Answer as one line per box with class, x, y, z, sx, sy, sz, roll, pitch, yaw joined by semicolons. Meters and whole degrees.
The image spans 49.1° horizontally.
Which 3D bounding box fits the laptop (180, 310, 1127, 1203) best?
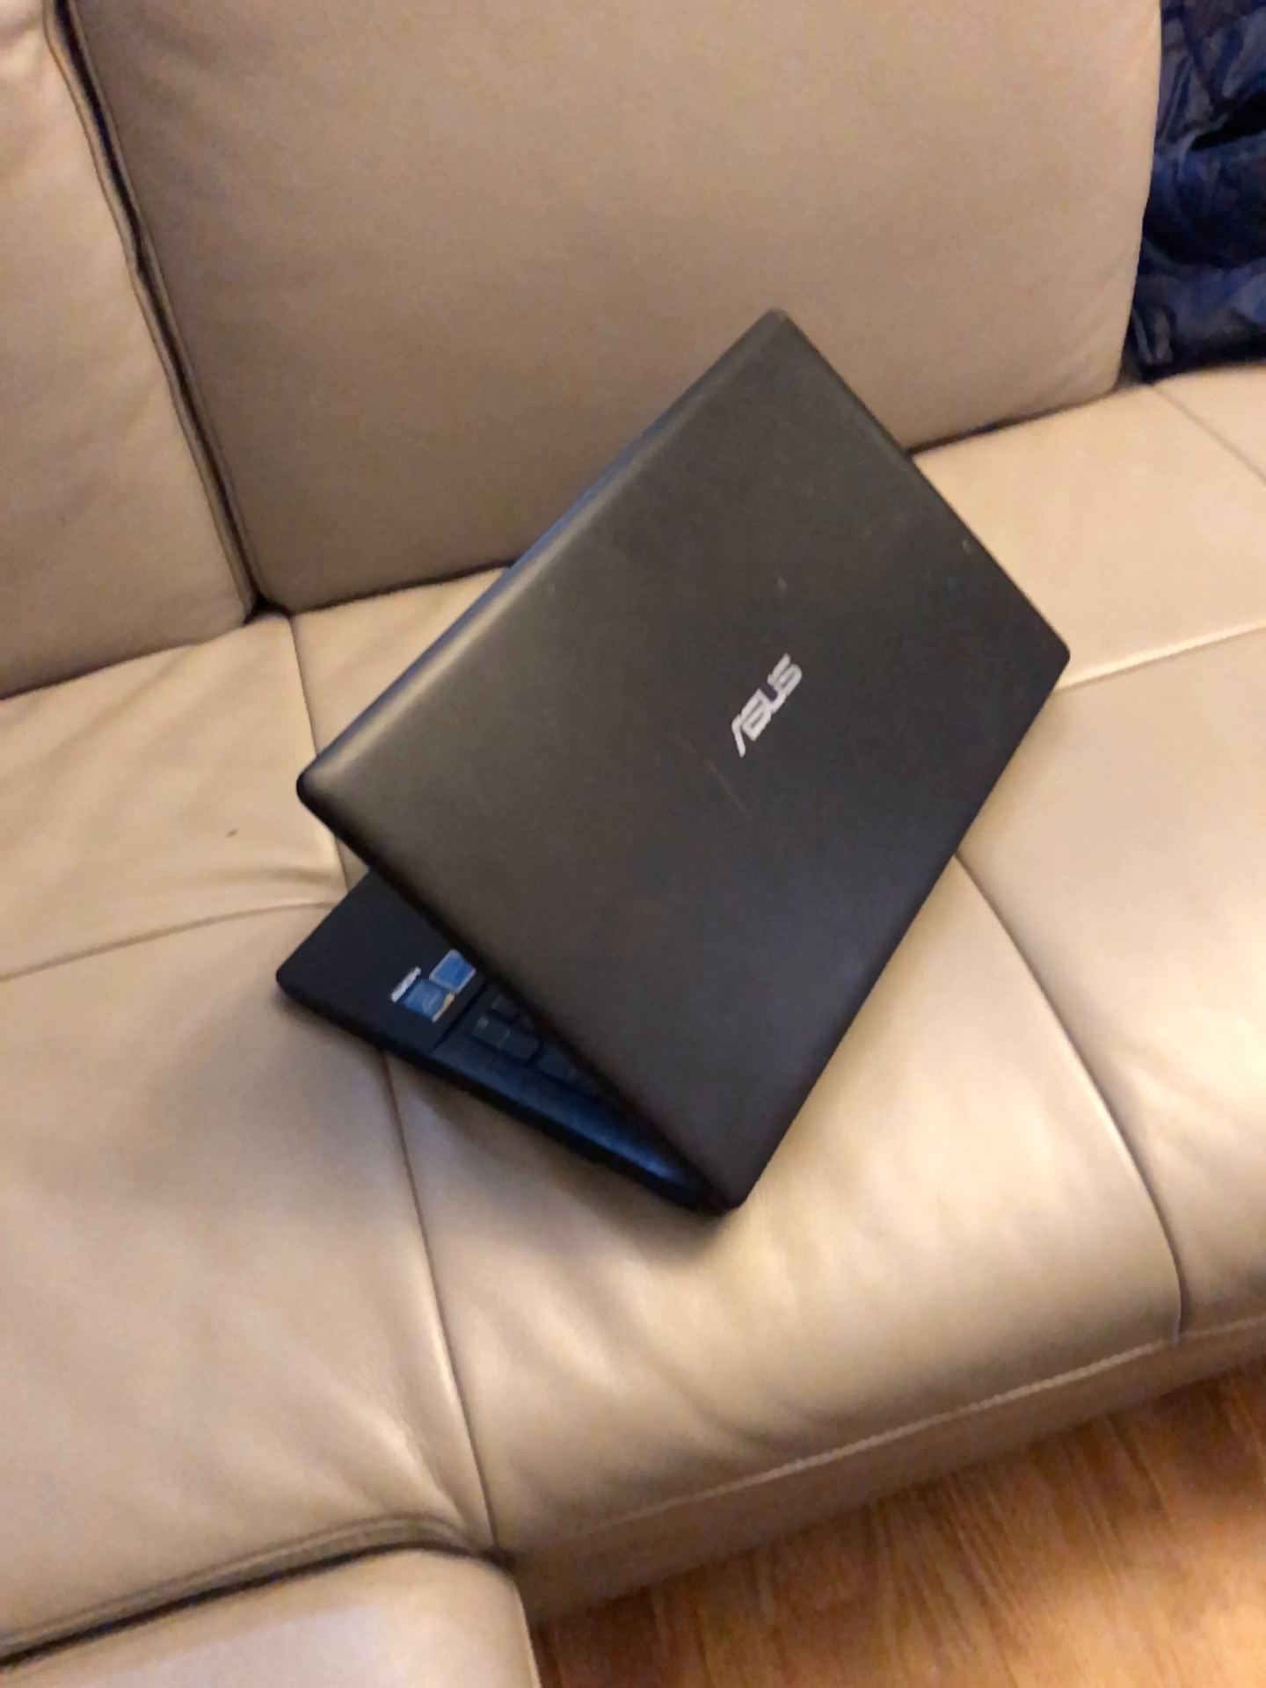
laptop;0.031;-0.068;0.648;0.242;0.155;0.371;23;56;24
